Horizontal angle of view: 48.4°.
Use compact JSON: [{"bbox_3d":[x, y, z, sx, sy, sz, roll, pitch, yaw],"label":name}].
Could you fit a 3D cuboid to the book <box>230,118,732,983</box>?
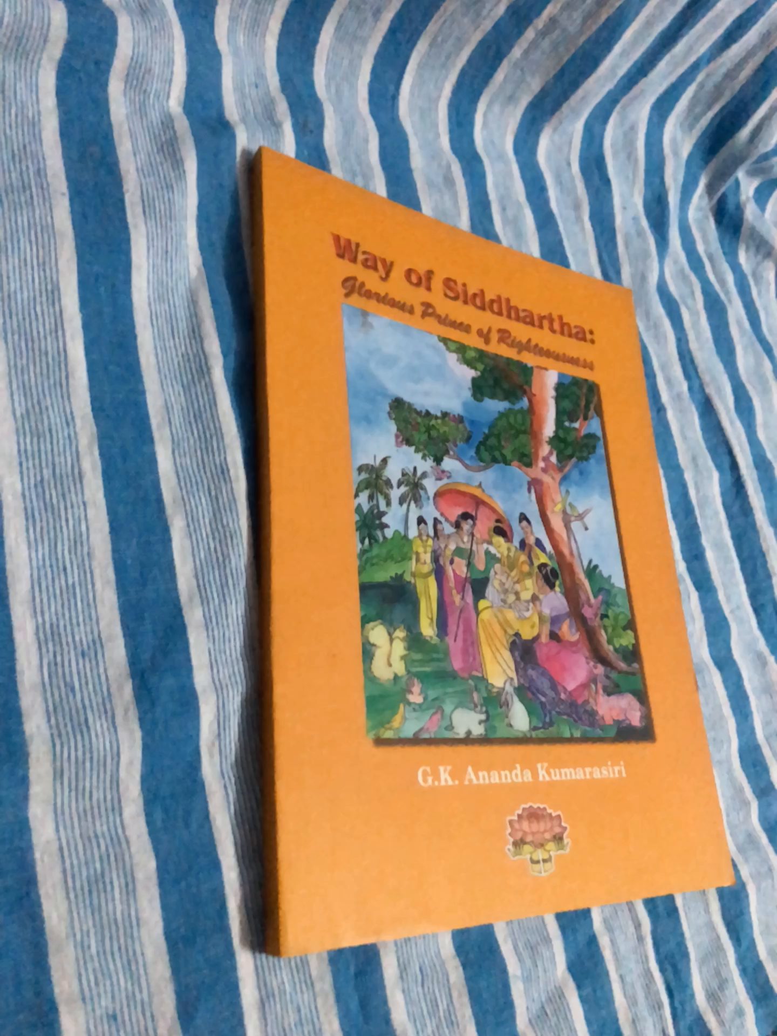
[{"bbox_3d":[0.032,0.002,0.273,0.171,0.010,0.230,9,67,-36],"label":"book"}]
